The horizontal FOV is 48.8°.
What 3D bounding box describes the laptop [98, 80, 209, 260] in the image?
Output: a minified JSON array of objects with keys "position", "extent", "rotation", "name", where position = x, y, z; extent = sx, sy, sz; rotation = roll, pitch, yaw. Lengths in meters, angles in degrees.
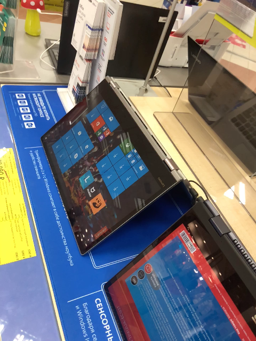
[{"position":[0.050,0.010,0.708],"extent":[0.211,0.150,0.337],"rotation":[23,28,-45],"name":"laptop"}]
